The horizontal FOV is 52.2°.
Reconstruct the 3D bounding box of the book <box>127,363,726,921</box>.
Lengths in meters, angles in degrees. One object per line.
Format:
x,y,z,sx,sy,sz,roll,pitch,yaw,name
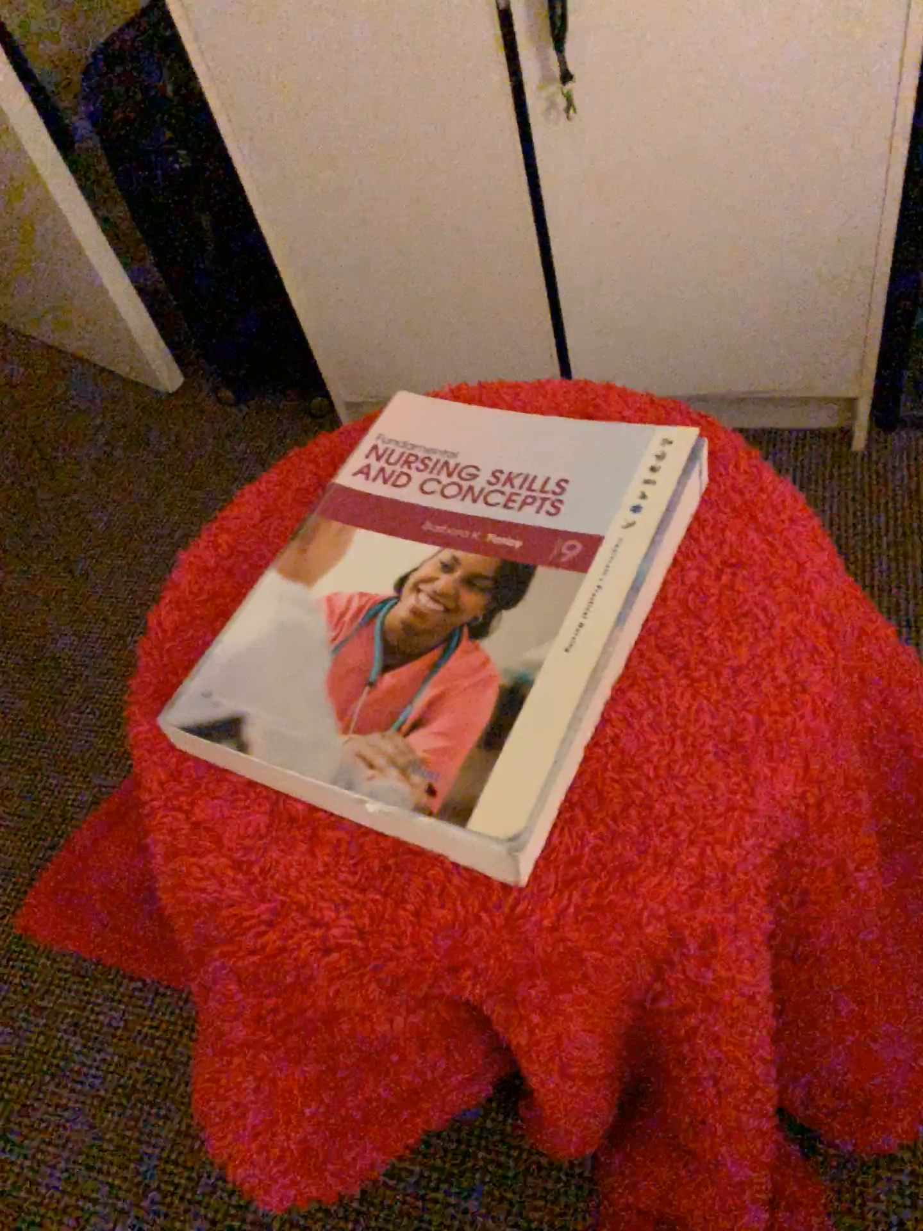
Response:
-0.004,-0.014,0.551,0.231,0.069,0.302,14,56,26,book
